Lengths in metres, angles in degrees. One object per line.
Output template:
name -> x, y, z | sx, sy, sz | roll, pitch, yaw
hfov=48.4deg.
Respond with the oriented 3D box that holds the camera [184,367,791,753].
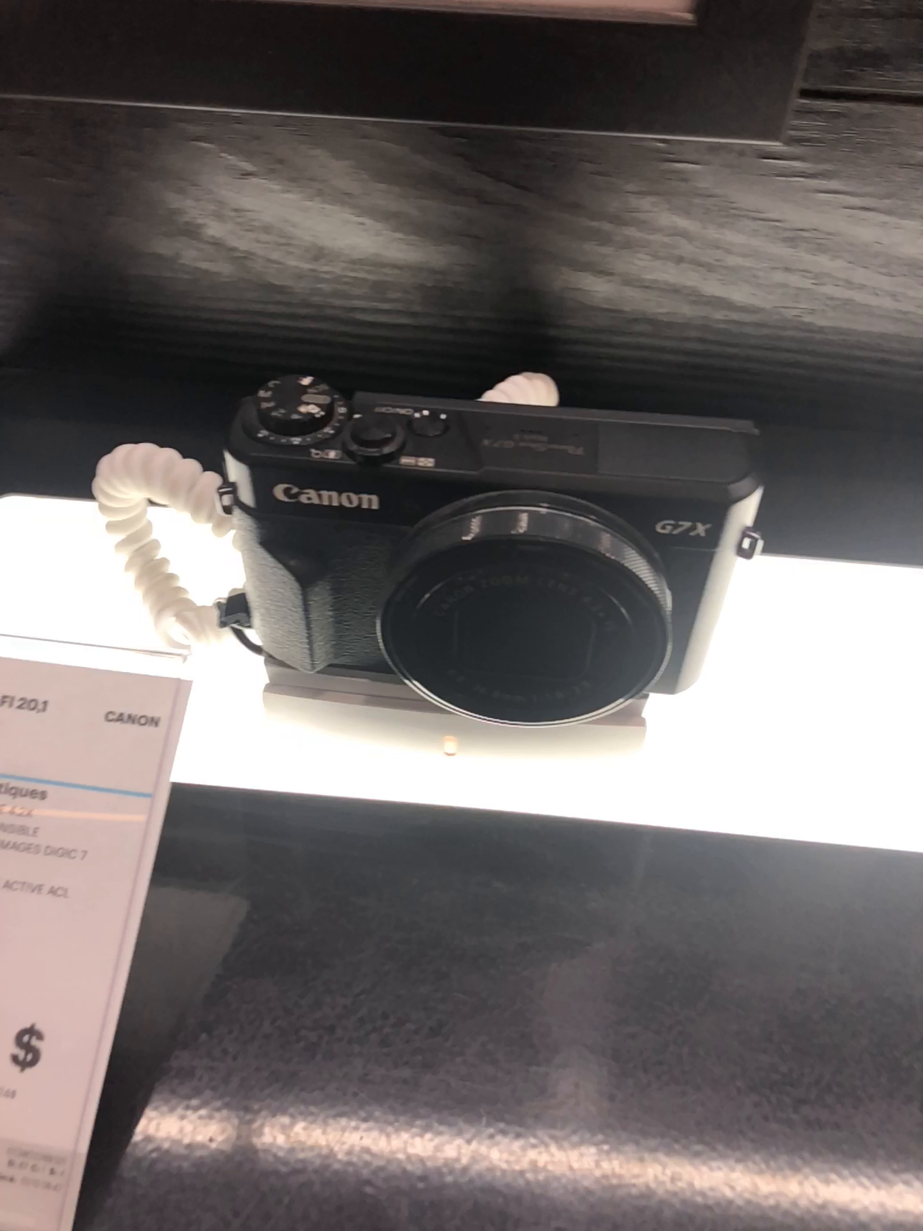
camera -> 0.005, -0.010, 0.202 | 0.100, 0.056, 0.038 | 5, 45, 3
